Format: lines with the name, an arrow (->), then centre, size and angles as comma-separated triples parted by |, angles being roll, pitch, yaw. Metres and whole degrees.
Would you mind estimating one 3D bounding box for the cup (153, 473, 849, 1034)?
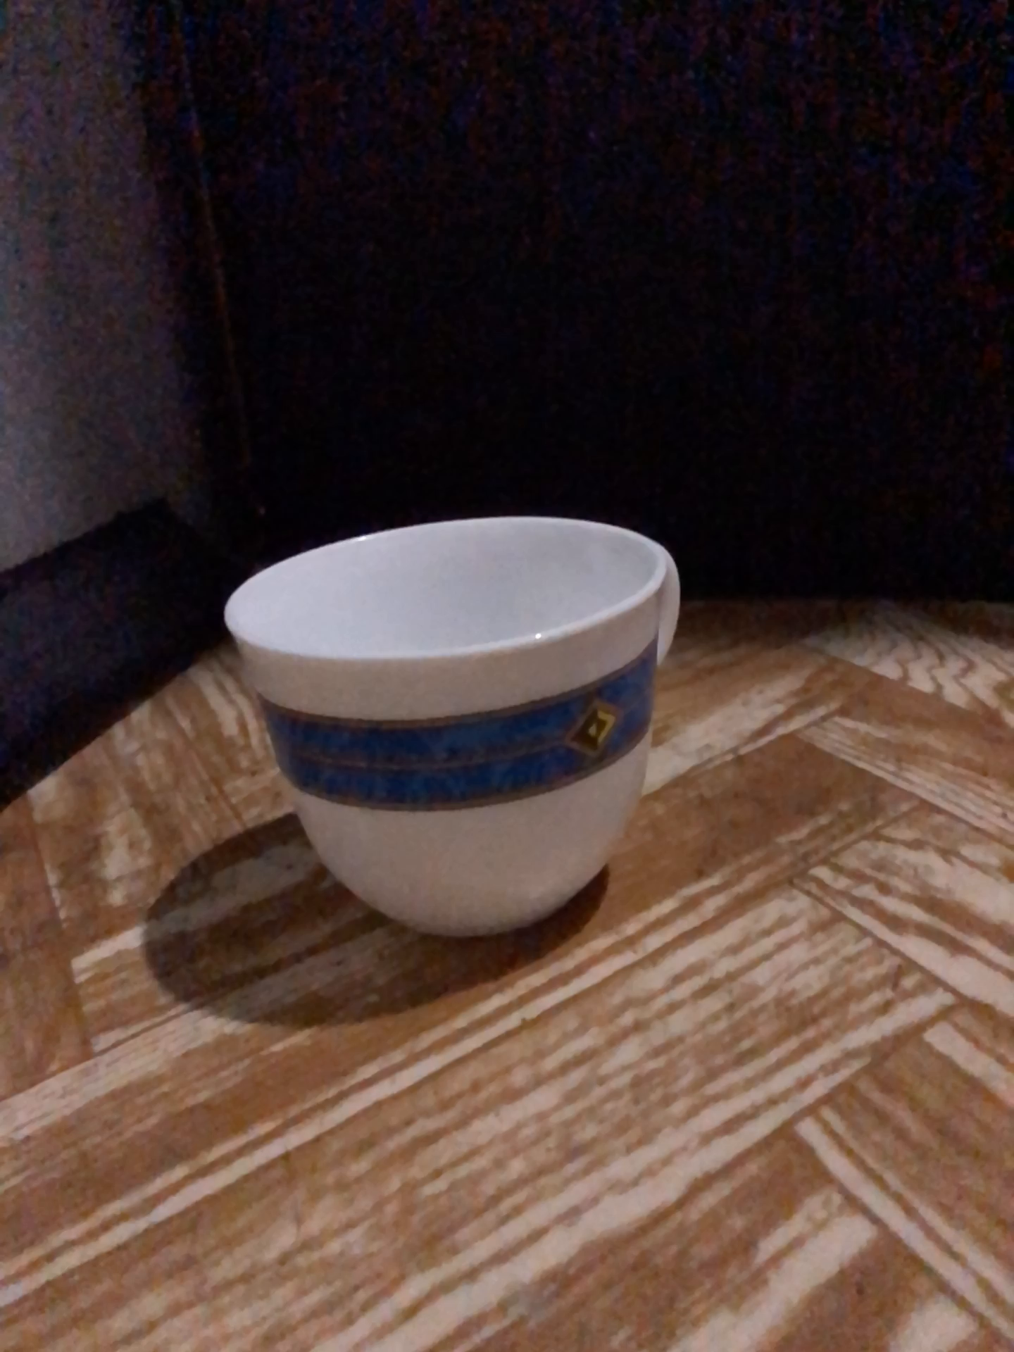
cup -> 0.003, 0.003, 0.235 | 0.088, 0.062, 0.111 | 15, 29, 42
